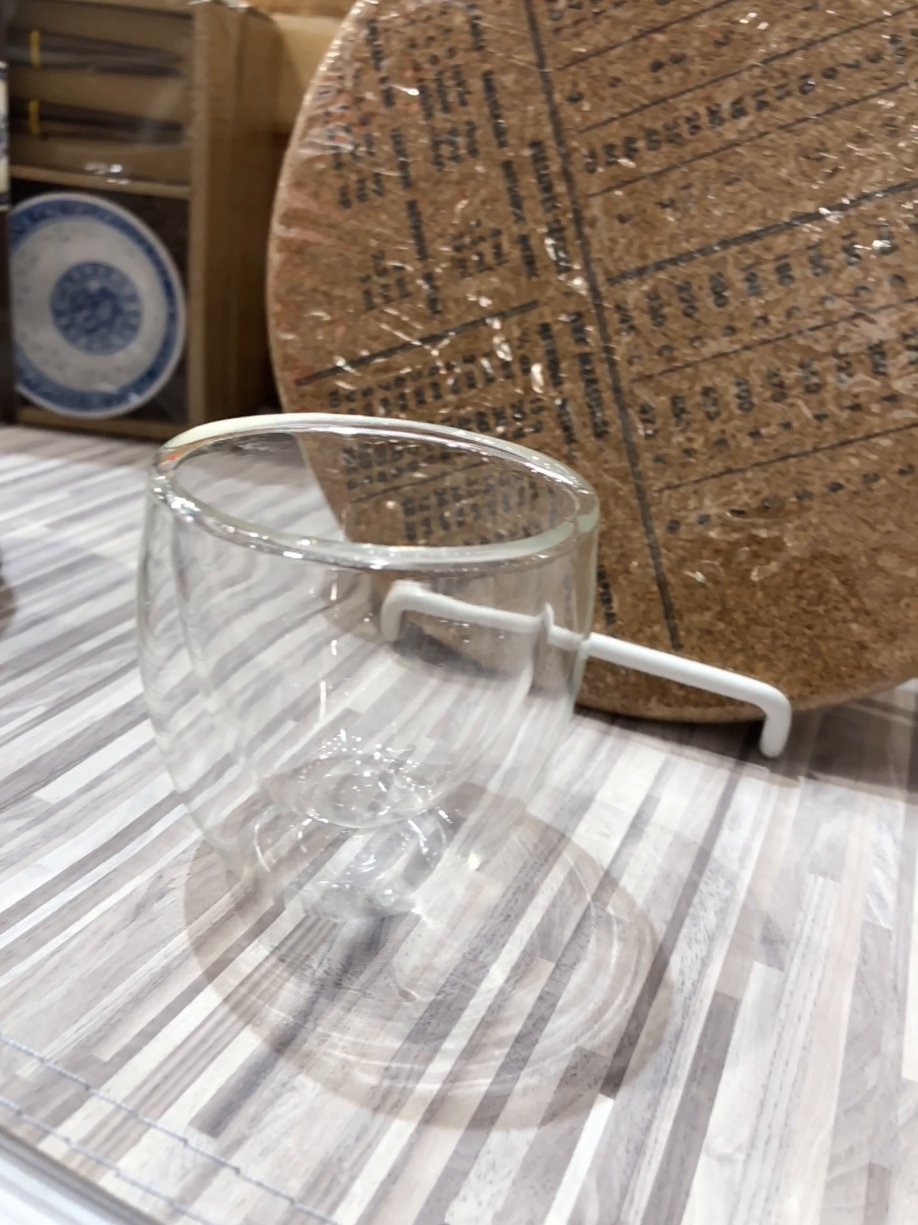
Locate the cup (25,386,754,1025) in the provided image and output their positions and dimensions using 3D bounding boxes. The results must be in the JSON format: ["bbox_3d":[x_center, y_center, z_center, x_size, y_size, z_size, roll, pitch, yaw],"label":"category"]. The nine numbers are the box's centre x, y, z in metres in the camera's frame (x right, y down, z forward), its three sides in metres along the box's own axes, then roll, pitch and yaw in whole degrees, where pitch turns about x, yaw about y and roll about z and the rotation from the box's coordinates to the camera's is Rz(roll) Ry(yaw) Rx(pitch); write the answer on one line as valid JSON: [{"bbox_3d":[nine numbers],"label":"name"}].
[{"bbox_3d":[-0.014,0.003,0.147,0.070,0.050,0.070,5,24,-2],"label":"cup"}]
